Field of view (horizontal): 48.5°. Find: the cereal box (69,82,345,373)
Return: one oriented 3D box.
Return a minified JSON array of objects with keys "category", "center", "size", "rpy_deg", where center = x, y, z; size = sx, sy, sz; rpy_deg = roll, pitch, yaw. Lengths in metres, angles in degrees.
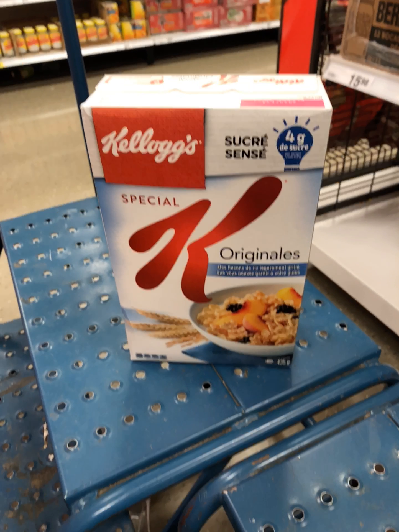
[{"category":"cereal box","center":[0.012,-0.022,0.459],"size":[0.210,0.299,0.080],"rpy_deg":[2,38,6]}]
